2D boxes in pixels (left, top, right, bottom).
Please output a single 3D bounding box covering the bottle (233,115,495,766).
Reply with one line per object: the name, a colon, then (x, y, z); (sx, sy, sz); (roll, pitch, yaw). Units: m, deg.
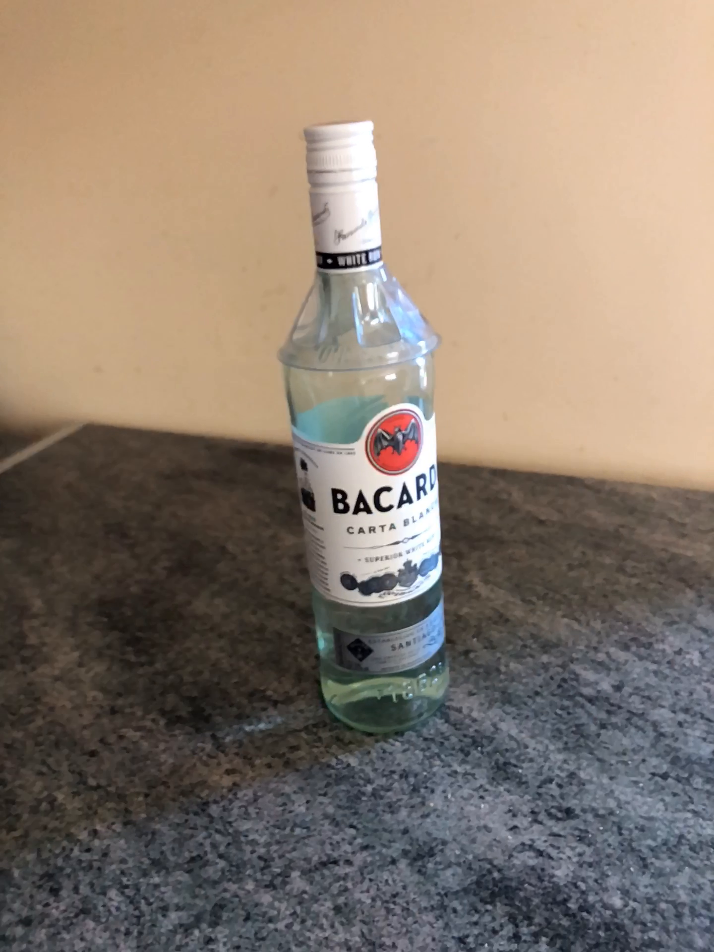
bottle: (0.010, -0.013, 0.397); (0.080, 0.298, 0.080); (-3, 23, 1)
